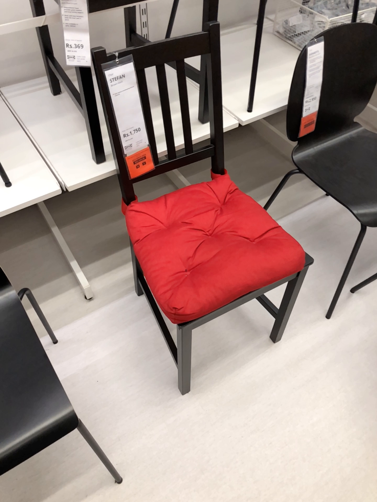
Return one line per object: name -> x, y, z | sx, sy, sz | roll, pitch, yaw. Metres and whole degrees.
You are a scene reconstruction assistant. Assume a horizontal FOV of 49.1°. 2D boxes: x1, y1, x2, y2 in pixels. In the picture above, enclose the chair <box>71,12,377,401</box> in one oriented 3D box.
chair -> 0.059, -0.066, 1.108 | 0.431, 0.835, 0.482 | -23, 54, -19
